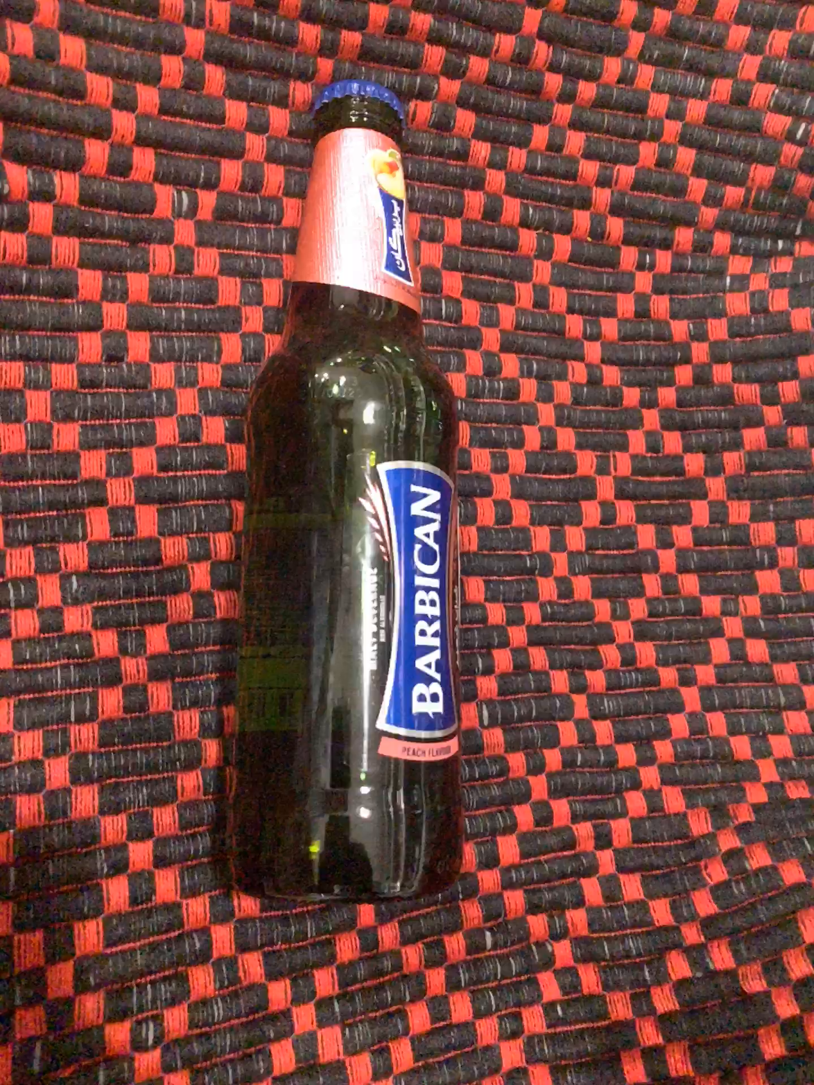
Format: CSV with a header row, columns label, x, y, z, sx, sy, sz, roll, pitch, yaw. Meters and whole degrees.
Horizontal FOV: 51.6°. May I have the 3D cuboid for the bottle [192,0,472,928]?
label,x,y,z,sx,sy,sz,roll,pitch,yaw
bottle,-0.016,-0.024,0.220,0.050,0.050,0.220,-4,77,16
